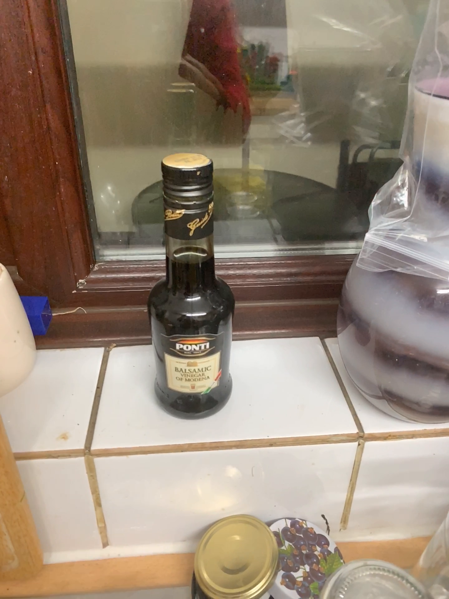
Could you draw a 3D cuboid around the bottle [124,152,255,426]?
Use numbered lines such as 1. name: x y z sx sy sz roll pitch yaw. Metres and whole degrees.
1. bottle: -0.023 -0.003 0.323 0.070 0.178 0.071 1 31 -1
